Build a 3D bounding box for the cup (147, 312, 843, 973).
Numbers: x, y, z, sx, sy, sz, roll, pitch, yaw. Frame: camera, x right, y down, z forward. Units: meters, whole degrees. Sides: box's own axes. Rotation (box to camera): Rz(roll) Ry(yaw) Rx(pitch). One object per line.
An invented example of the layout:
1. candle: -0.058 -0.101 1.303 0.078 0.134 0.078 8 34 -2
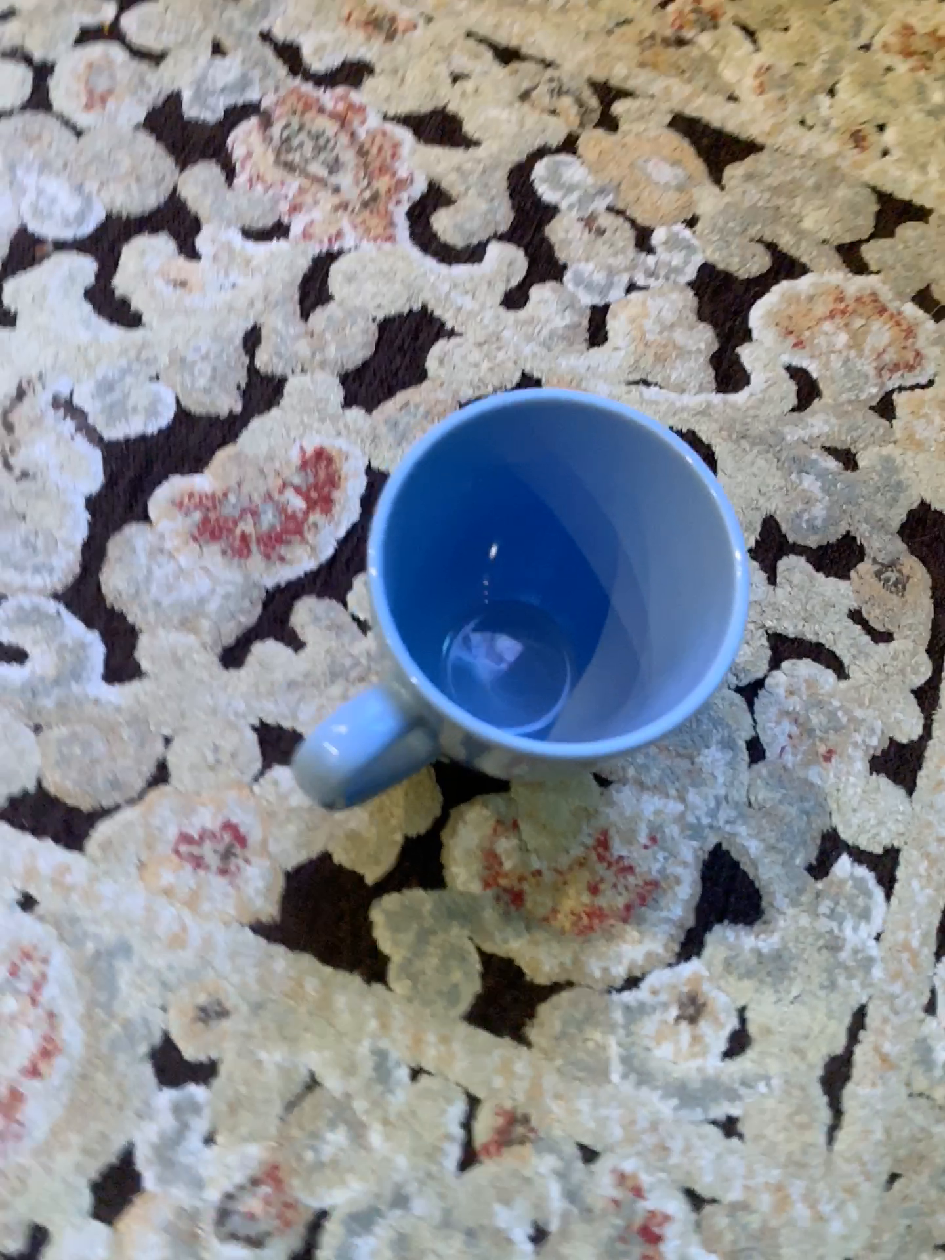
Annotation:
1. cup: 0.004 0.008 0.248 0.120 0.090 0.090 -41 80 -17
